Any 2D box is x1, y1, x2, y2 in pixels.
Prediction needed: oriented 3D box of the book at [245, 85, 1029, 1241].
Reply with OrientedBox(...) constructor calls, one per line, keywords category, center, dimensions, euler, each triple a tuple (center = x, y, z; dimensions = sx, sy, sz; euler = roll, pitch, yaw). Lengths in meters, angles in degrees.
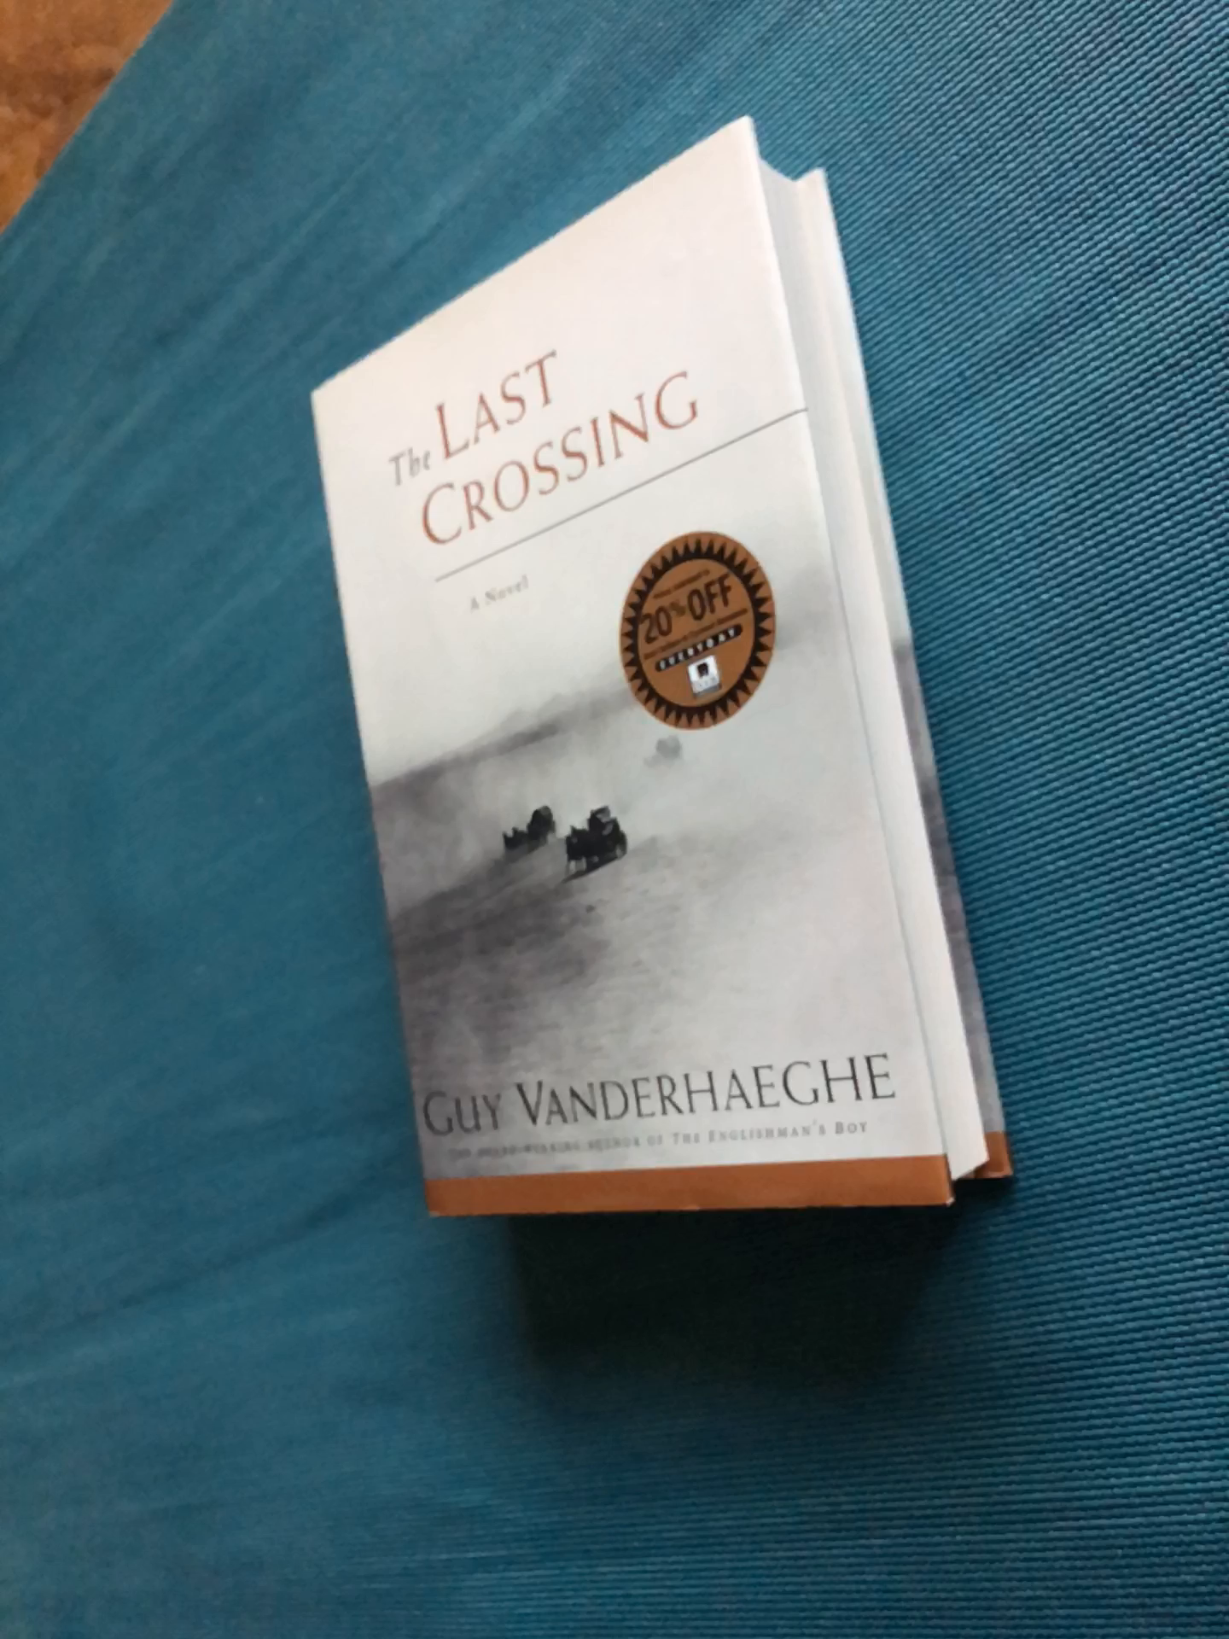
OrientedBox(category="book", center=(-0.010, -0.021, 0.333), dimensions=(0.171, 0.040, 0.230), euler=(-15, 80, 38))
